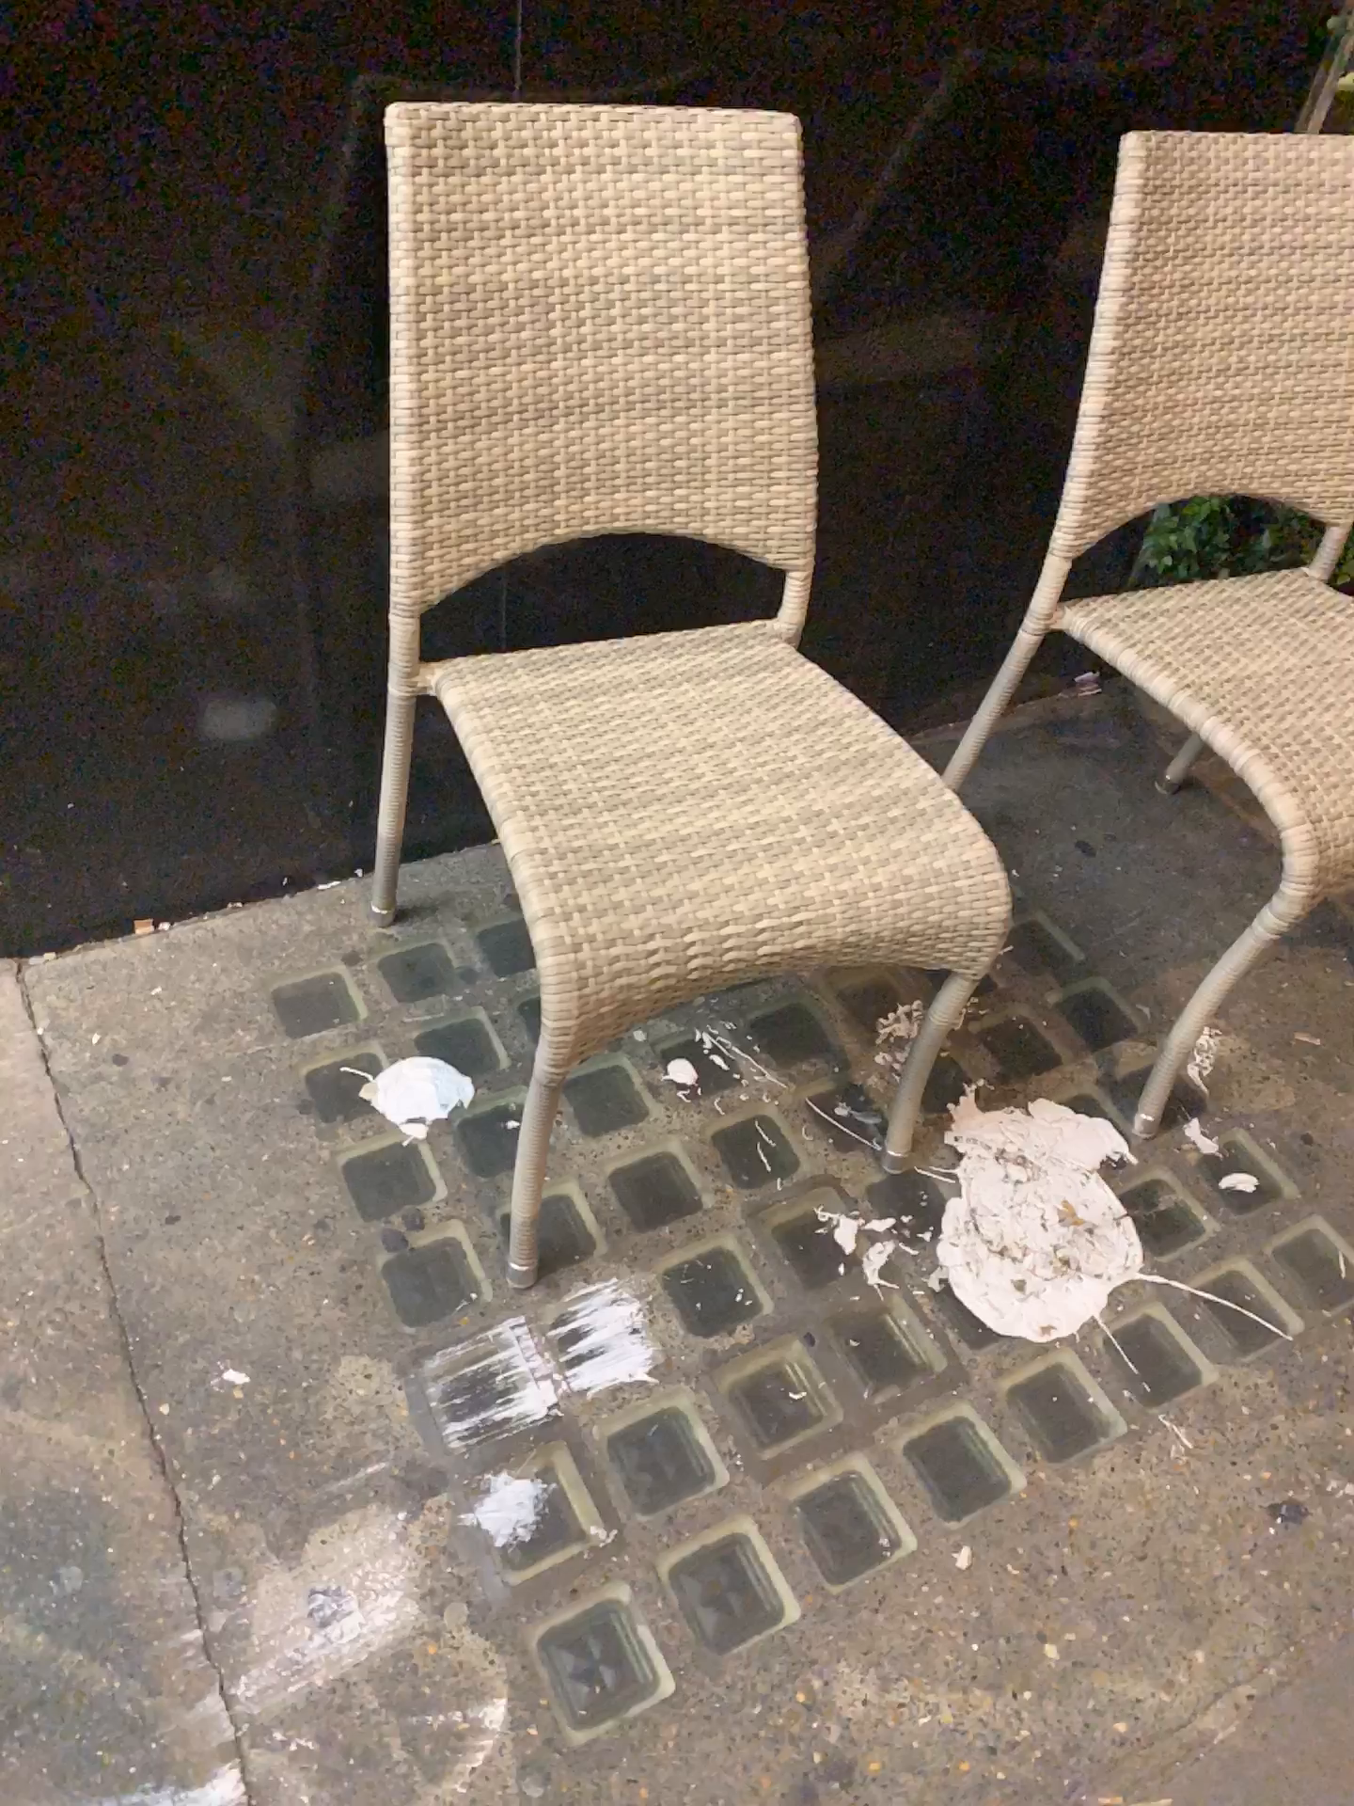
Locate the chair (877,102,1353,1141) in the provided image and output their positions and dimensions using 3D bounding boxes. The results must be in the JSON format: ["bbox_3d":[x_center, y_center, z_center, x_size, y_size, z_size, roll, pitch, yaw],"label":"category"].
[{"bbox_3d":[0.687,-0.329,1.538,0.581,0.901,0.605,-11,39,-19],"label":"chair"}]

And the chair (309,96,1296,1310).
[{"bbox_3d":[0.002,-0.175,1.253,0.481,0.831,0.615,-12,48,-20],"label":"chair"}]
